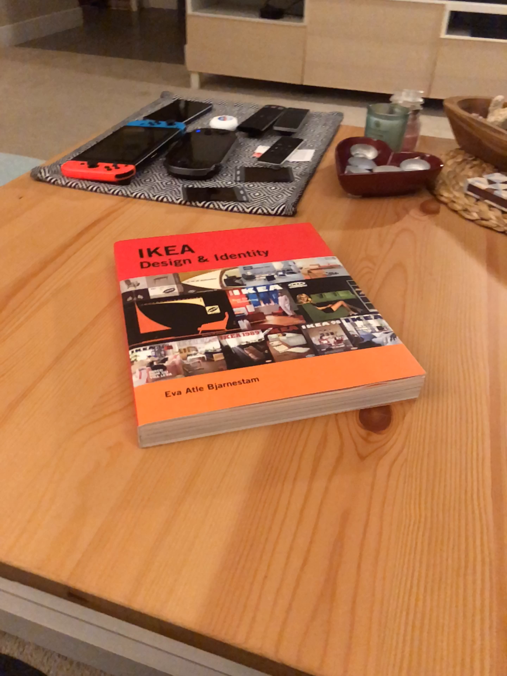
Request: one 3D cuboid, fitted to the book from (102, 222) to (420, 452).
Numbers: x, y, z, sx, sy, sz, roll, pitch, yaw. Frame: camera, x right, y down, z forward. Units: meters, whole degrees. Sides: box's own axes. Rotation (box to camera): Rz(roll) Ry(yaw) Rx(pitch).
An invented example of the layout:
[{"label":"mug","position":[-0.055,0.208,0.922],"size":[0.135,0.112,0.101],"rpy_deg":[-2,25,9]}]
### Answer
[{"label":"book","position":[-0.015,-0.024,0.493],"size":[0.216,0.030,0.256],"rpy_deg":[-8,38,-13]}]
